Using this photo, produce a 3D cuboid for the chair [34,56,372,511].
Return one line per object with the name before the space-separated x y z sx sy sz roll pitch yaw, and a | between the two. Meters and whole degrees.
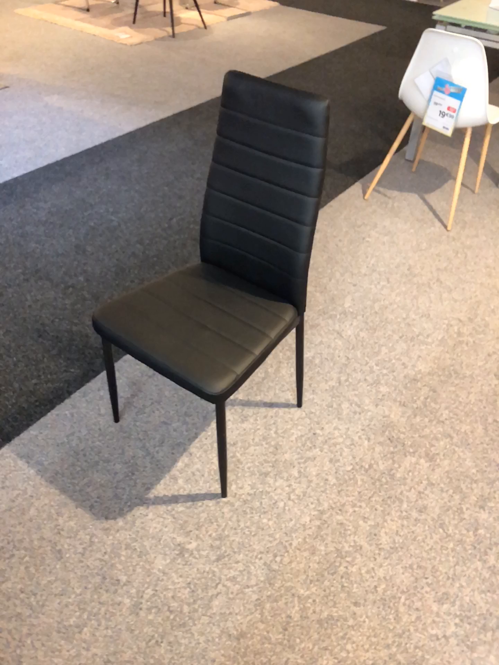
chair | -0.098 -0.100 1.387 0.470 0.935 0.473 29 47 27
